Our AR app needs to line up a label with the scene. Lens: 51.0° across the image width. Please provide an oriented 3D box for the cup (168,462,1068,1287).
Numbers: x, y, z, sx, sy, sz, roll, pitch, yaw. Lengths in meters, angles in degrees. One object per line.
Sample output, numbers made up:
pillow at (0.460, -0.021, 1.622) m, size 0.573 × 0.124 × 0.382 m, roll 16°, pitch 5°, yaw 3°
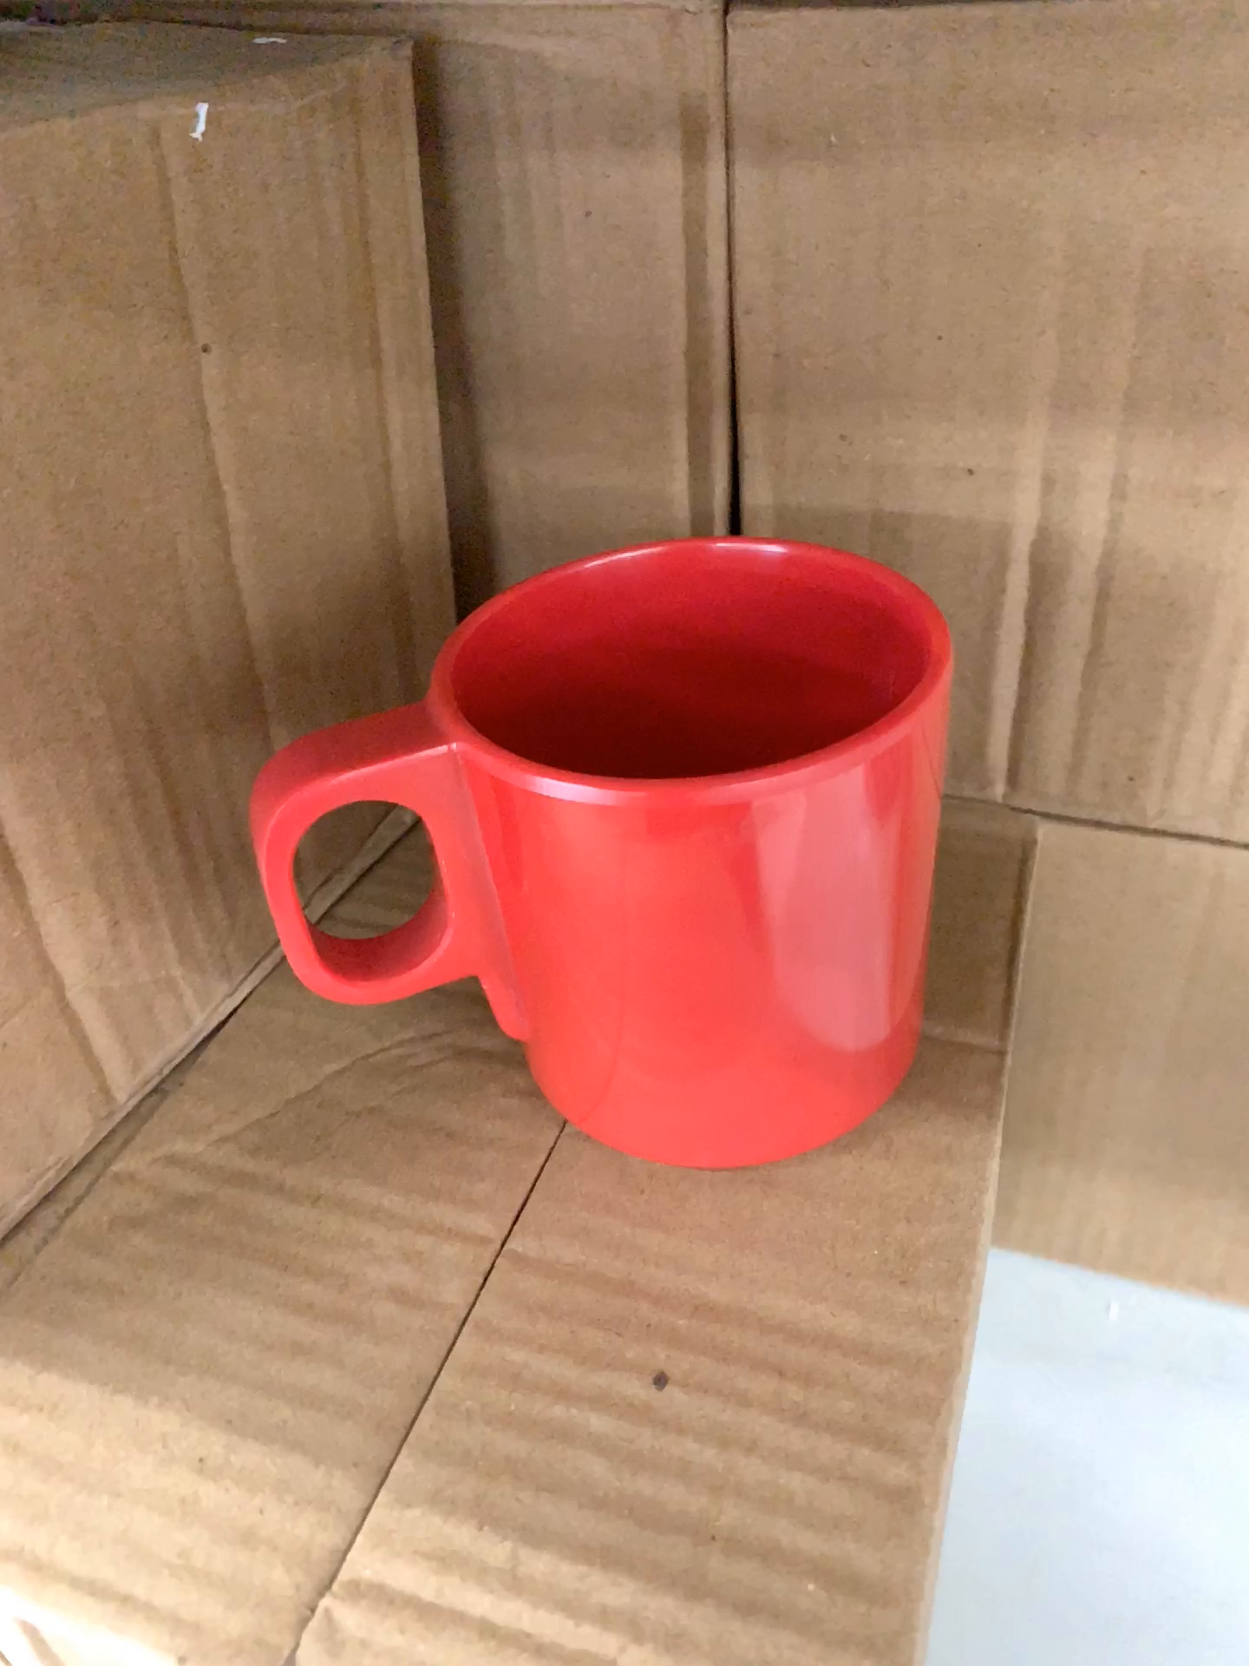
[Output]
cup at (-0.004, 0.002, 0.205) m, size 0.110 × 0.079 × 0.071 m, roll -14°, pitch 38°, yaw -10°
